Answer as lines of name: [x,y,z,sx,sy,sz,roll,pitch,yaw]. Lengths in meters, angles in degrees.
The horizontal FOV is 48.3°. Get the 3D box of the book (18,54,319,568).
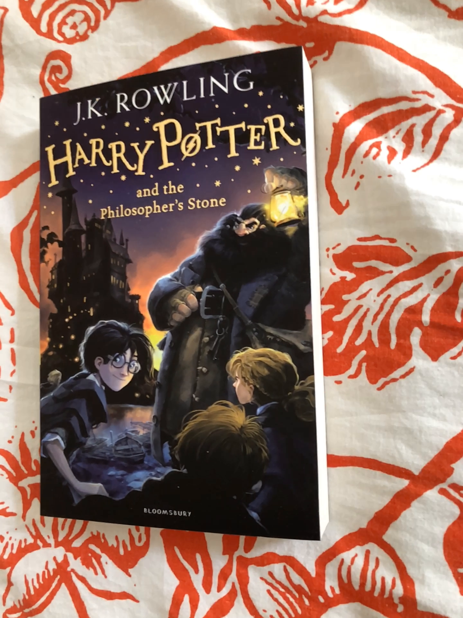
book: [-0.029,-0.001,0.219,0.127,0.020,0.189,0,88,18]
